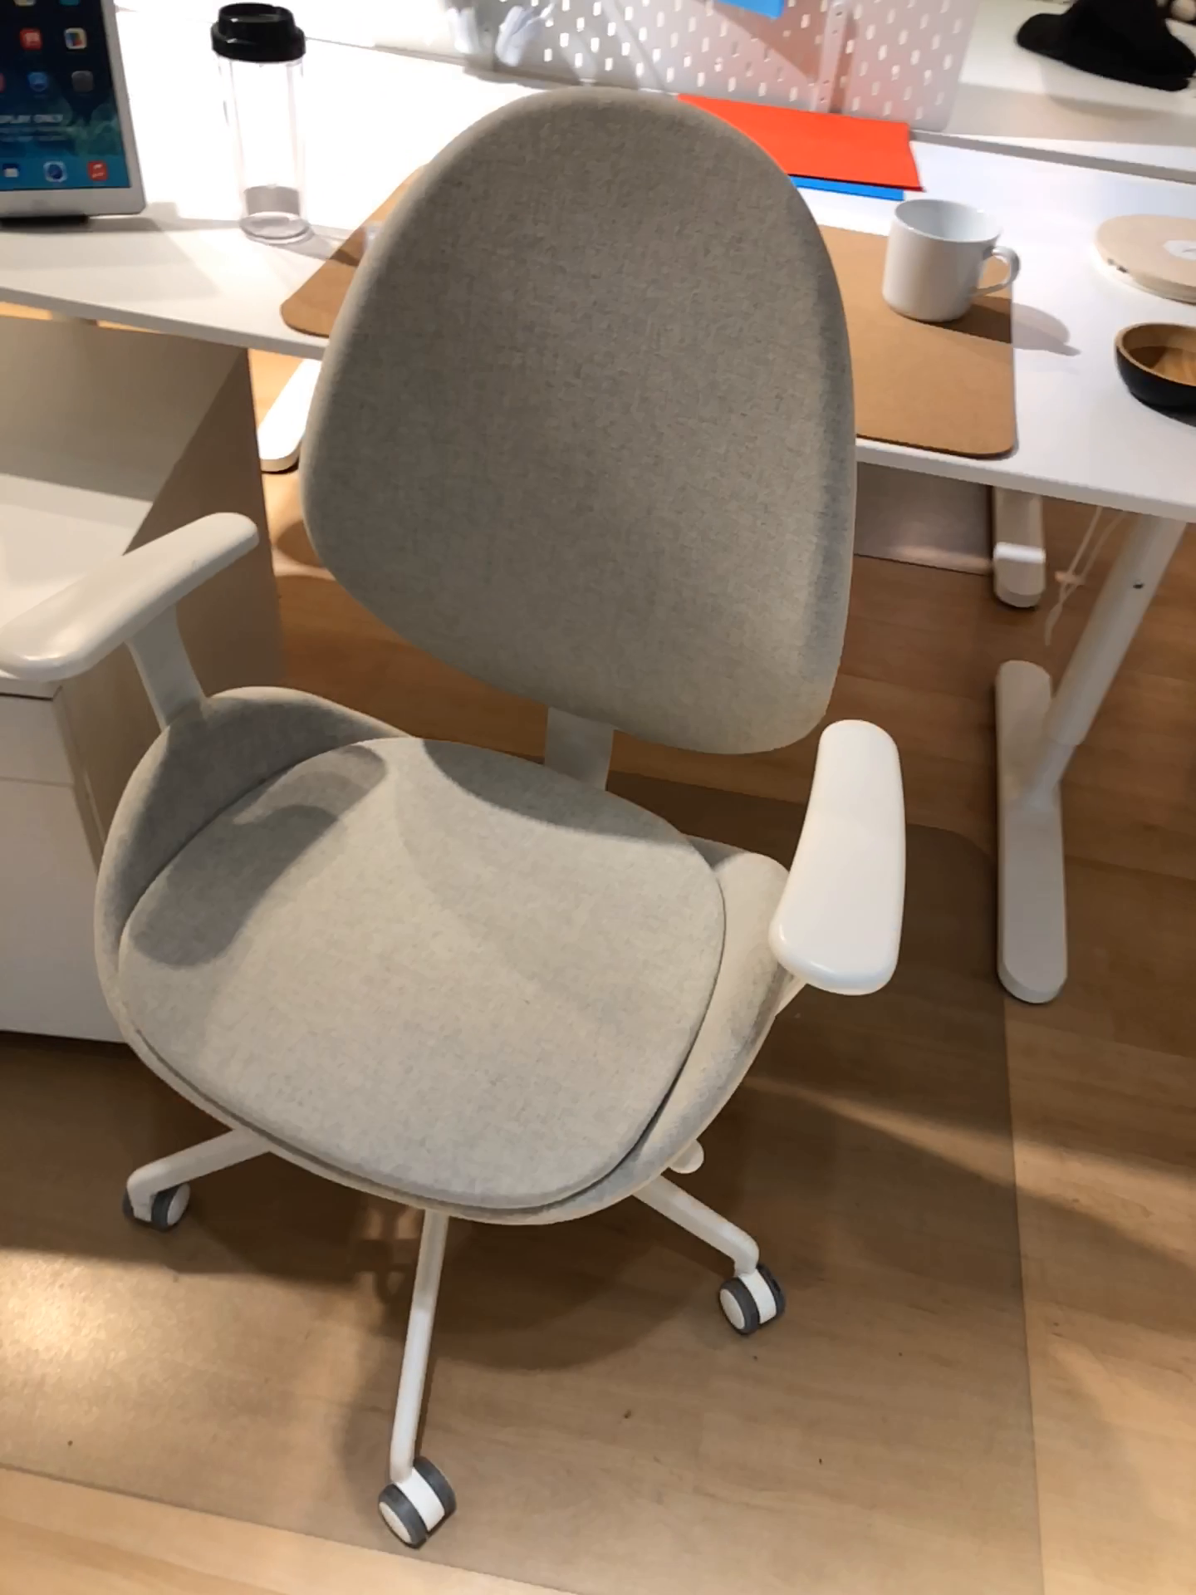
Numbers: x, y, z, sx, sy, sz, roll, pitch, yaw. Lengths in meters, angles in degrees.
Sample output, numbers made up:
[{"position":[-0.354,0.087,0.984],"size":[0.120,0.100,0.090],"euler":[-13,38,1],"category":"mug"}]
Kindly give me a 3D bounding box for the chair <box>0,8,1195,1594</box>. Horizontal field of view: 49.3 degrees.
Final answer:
[{"position":[-0.063,0.037,1.017],"size":[0.651,0.914,0.704],"euler":[20,46,14],"category":"chair"}]
